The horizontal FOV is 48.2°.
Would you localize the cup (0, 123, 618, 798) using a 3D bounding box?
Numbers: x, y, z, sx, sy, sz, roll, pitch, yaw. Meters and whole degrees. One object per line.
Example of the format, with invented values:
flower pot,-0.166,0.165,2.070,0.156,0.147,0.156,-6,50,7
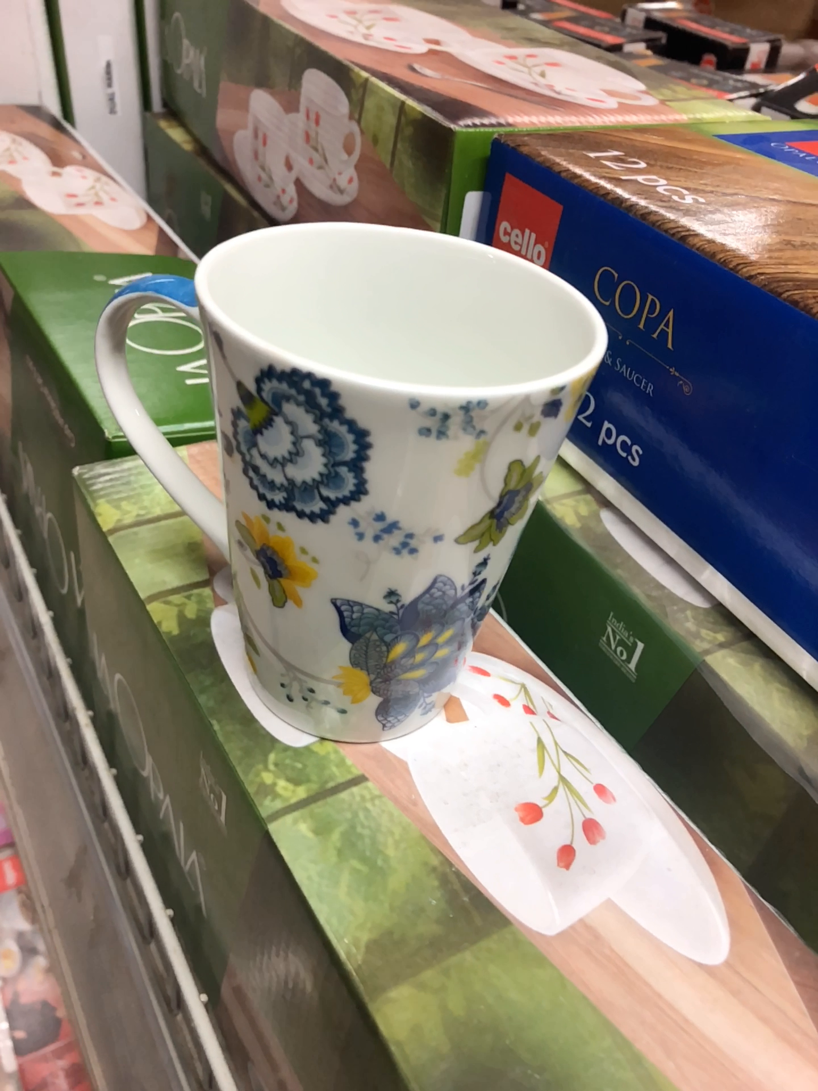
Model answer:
cup,-0.031,-0.025,0.186,0.110,0.079,0.070,26,42,22
